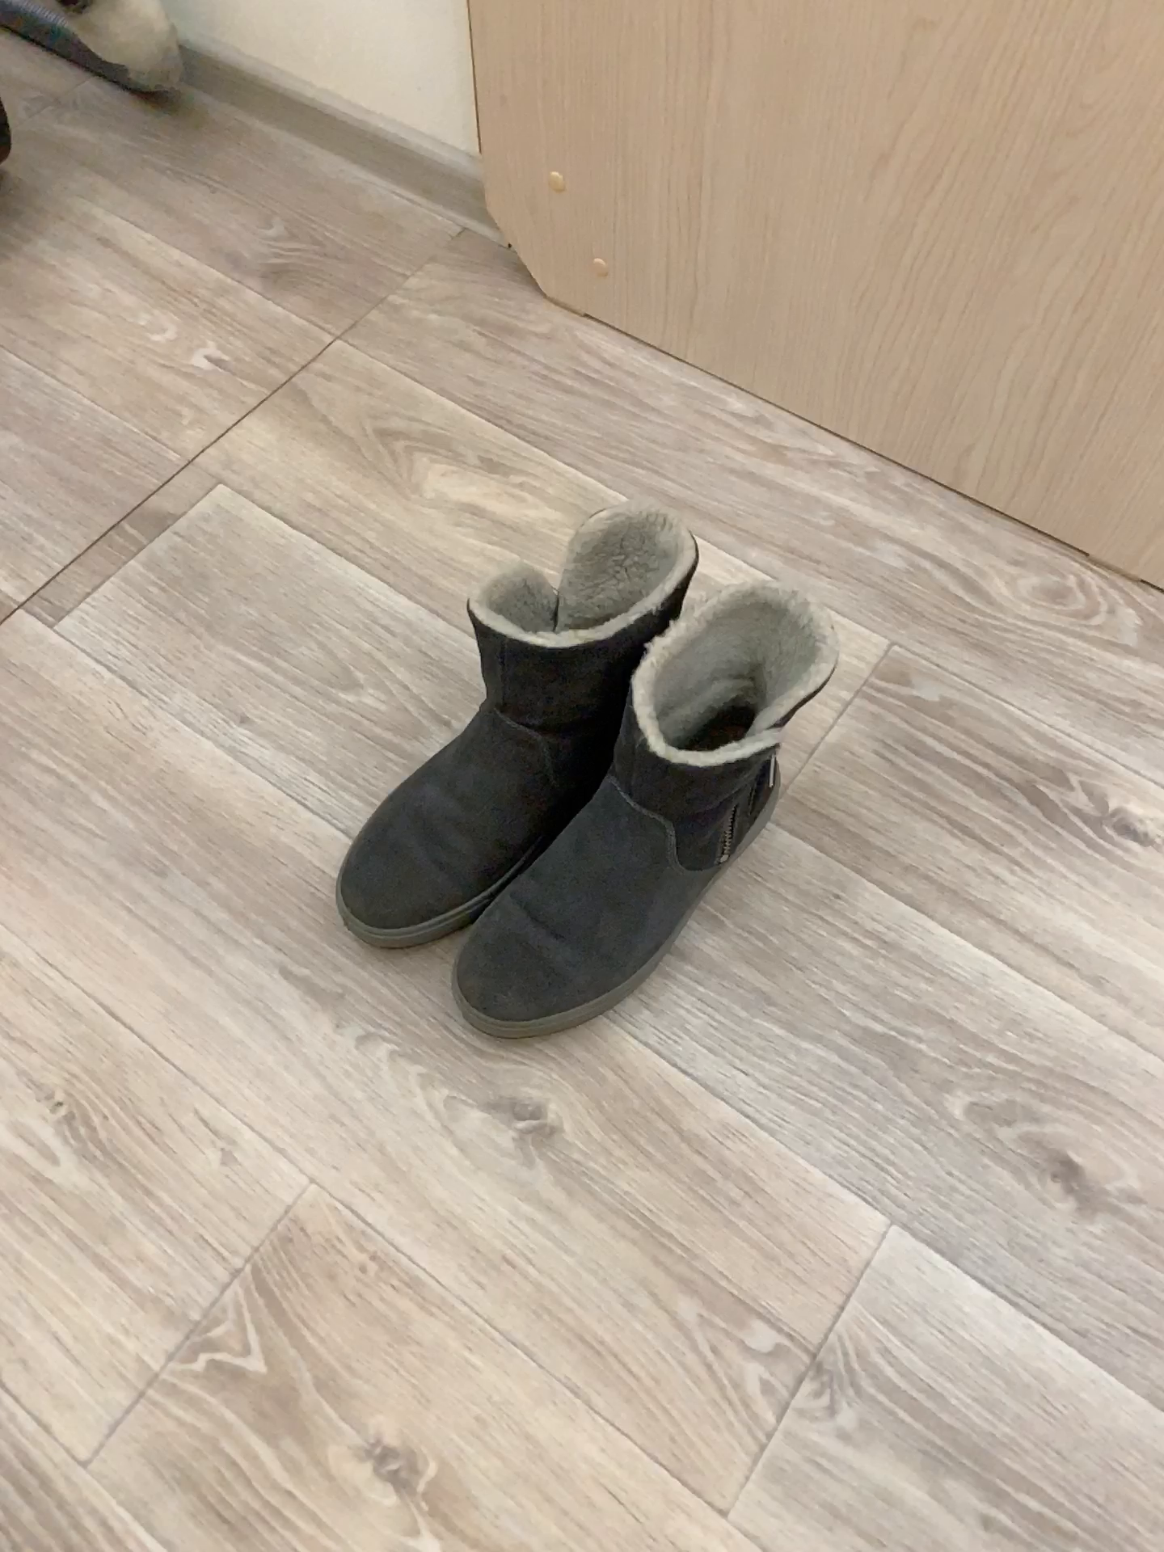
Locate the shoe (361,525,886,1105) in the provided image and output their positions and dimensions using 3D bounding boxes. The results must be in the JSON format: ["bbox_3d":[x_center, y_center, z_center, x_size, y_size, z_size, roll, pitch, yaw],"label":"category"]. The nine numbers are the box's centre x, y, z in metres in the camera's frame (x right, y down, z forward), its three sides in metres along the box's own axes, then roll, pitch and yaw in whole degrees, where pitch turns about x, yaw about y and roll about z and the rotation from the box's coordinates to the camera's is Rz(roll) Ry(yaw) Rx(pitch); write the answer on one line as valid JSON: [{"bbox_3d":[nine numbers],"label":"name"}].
[{"bbox_3d":[0.027,0.023,0.649,0.100,0.169,0.270,38,68,19],"label":"shoe"}]

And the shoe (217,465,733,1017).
[{"bbox_3d":[-0.048,-0.017,0.691,0.100,0.179,0.270,40,68,20],"label":"shoe"}]
